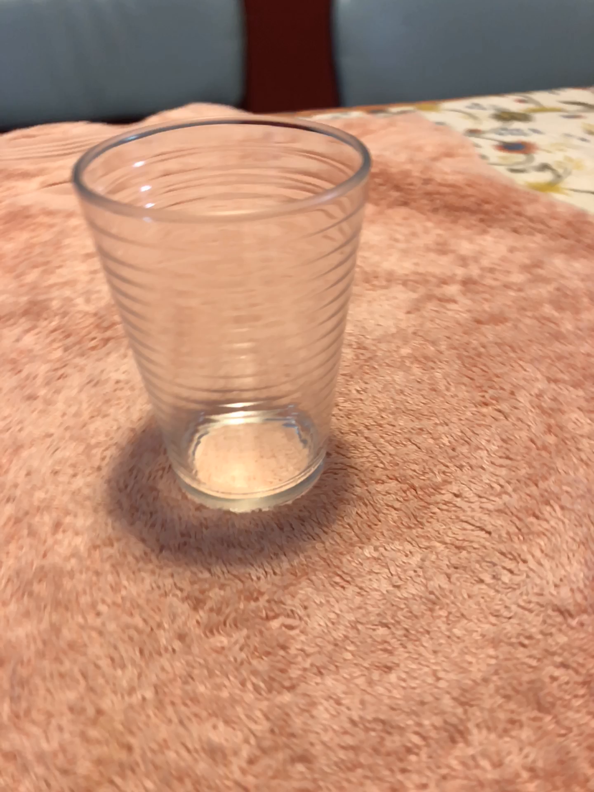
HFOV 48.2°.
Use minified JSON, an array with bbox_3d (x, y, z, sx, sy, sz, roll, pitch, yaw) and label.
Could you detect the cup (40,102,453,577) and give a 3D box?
[{"bbox_3d":[-0.017,-0.020,0.186,0.080,0.089,0.081,-2,38,1],"label":"cup"}]
